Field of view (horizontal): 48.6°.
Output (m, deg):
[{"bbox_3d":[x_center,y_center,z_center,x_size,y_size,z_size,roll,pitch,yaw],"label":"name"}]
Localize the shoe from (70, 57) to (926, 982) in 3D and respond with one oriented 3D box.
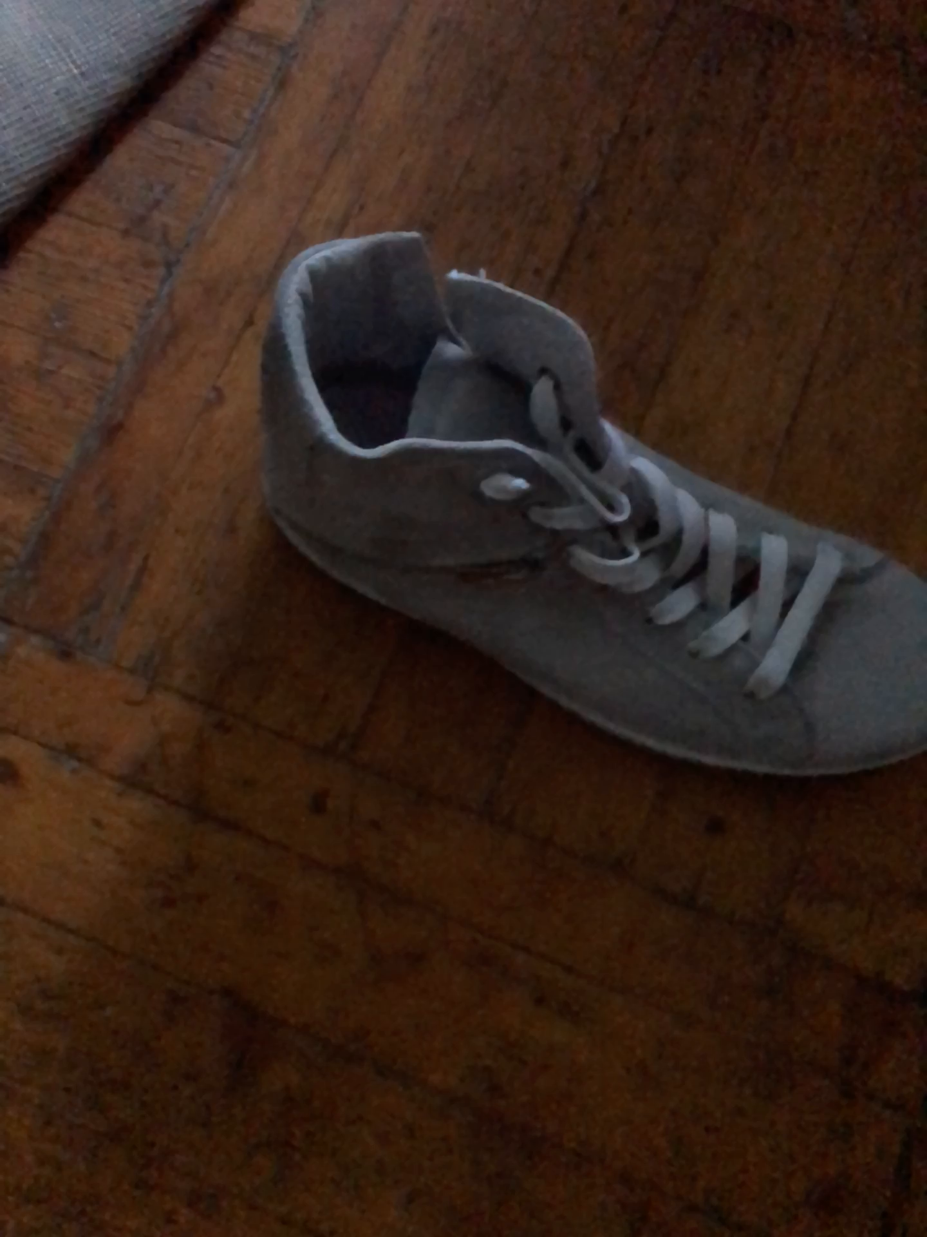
[{"bbox_3d":[0.066,-0.022,0.380,0.310,0.220,0.130,26,84,7],"label":"shoe"}]
